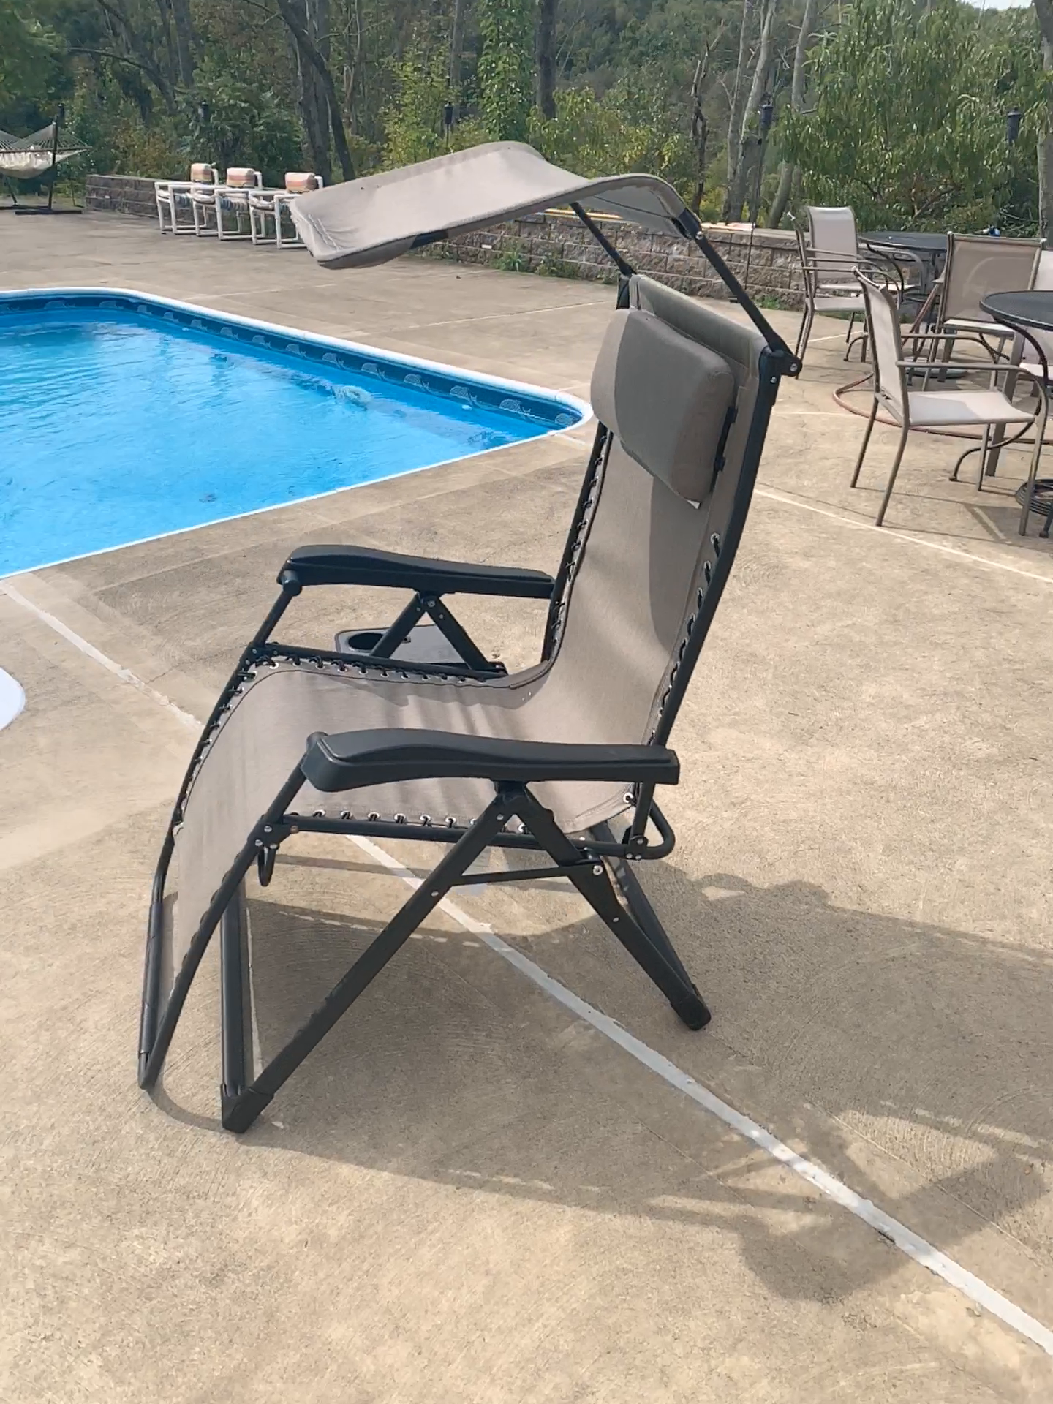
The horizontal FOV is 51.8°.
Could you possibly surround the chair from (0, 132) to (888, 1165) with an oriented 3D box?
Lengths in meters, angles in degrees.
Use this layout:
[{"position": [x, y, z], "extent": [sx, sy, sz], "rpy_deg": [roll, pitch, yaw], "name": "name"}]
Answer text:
[{"position": [-0.246, -0.209, 1.623], "extent": [0.917, 1.137, 1.058], "rpy_deg": [-6, 28, -12], "name": "chair"}]
